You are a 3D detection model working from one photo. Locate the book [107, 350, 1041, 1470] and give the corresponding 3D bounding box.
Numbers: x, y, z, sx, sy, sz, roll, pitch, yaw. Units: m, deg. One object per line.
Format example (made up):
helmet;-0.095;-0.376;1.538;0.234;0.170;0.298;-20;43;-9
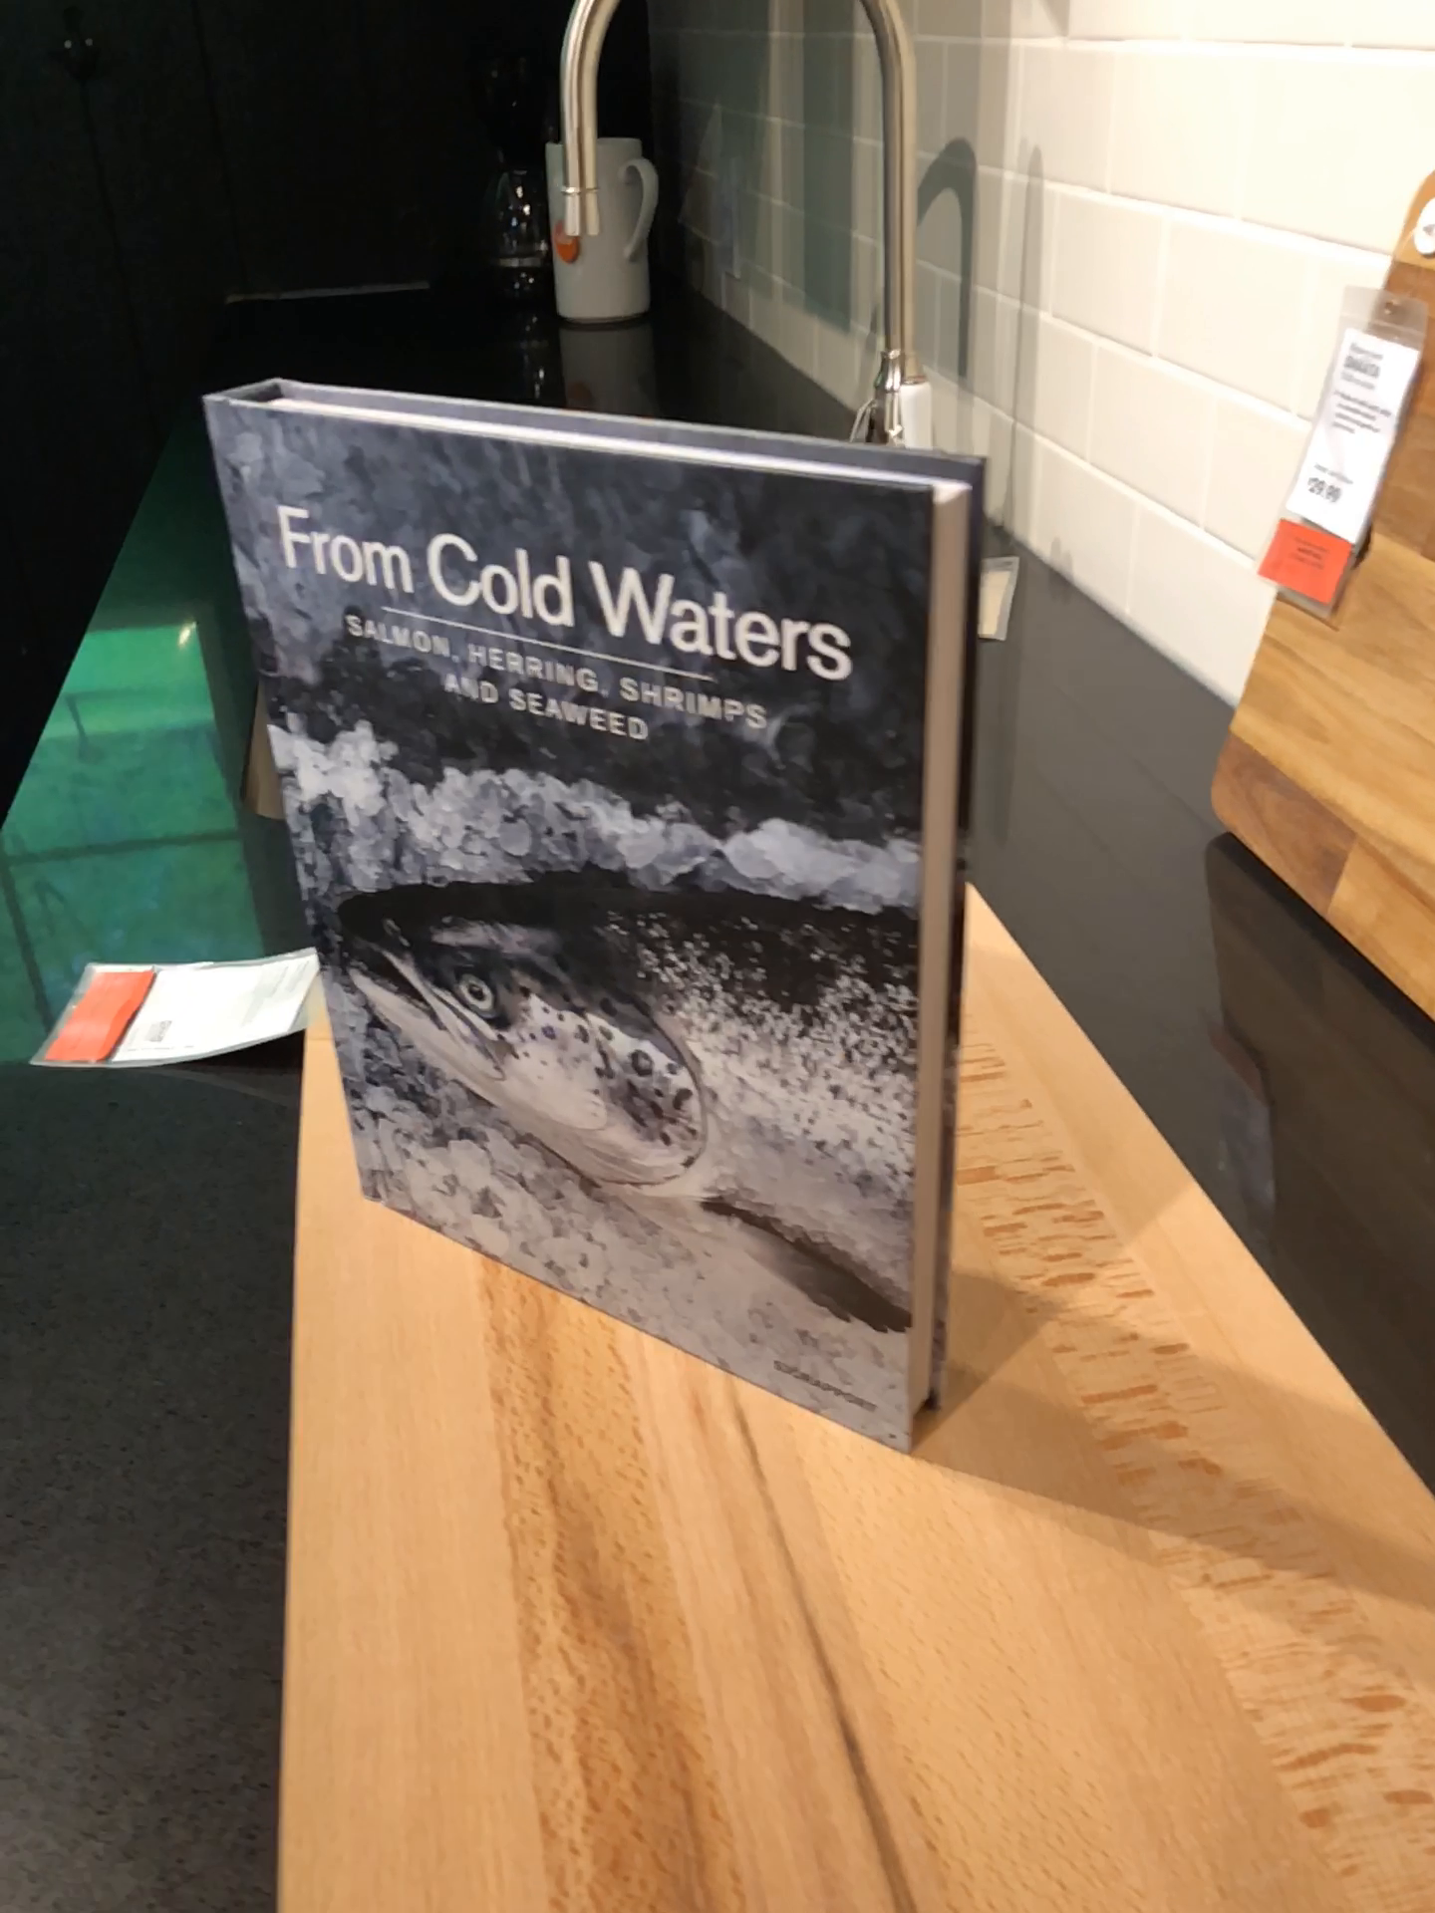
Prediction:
book;-0.037;-0.014;0.366;0.213;0.219;0.029;17;35;31
